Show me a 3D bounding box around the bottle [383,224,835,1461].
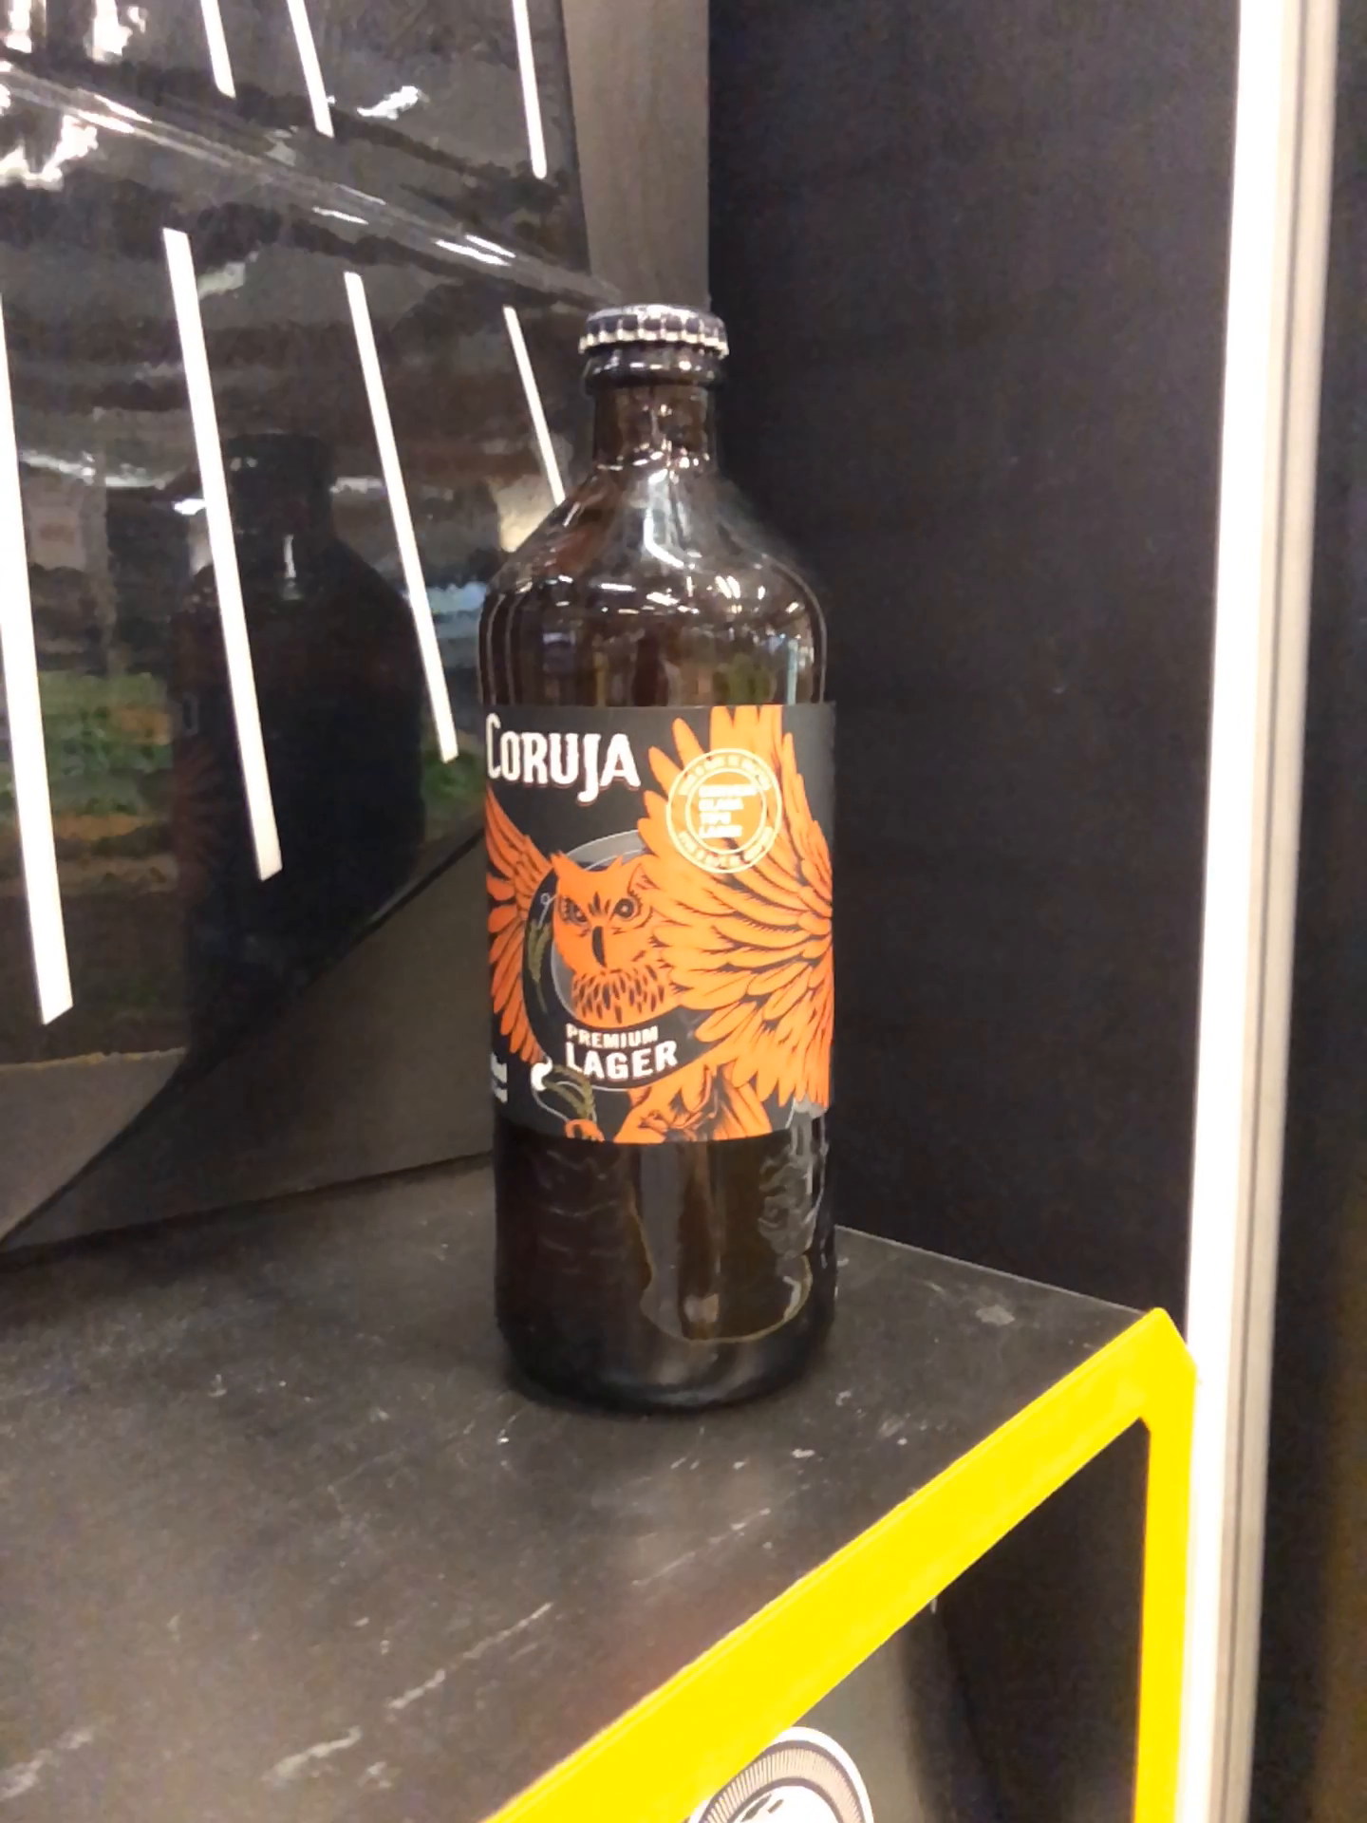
[{"bbox_3d":[-0.010,-0.013,0.312,0.070,0.219,0.070,-1,7,0],"label":"bottle"}]
